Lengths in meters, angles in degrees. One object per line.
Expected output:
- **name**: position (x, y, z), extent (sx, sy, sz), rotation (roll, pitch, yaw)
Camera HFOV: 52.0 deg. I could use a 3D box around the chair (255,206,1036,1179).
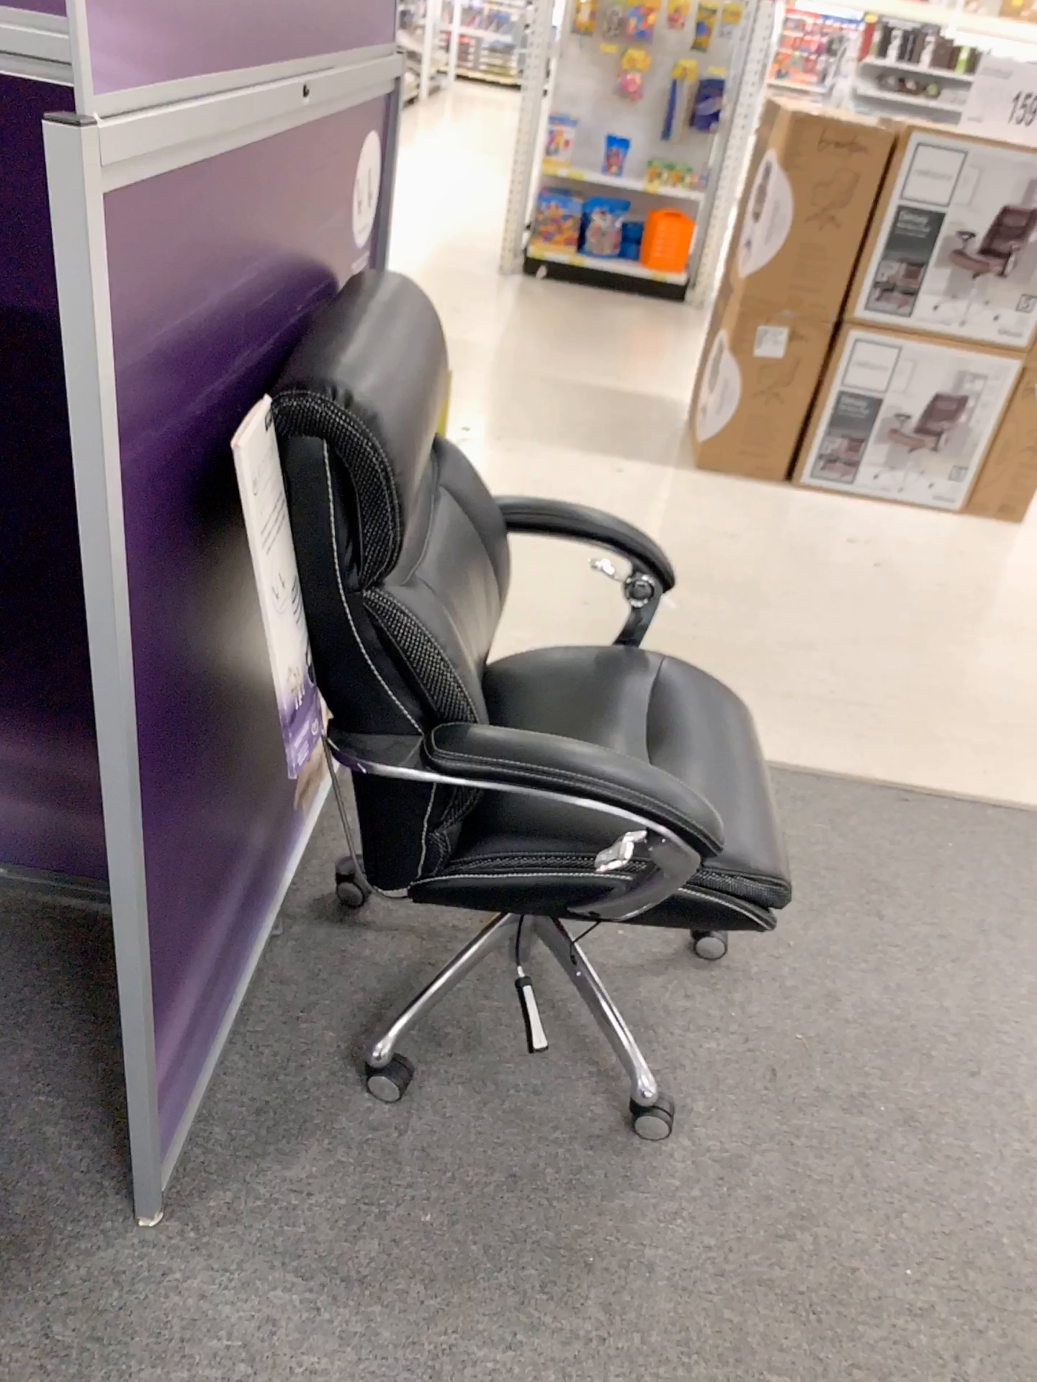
- **chair**: position (0.117, -0.026, 1.456), extent (0.720, 0.955, 0.774), rotation (10, 33, -1)
